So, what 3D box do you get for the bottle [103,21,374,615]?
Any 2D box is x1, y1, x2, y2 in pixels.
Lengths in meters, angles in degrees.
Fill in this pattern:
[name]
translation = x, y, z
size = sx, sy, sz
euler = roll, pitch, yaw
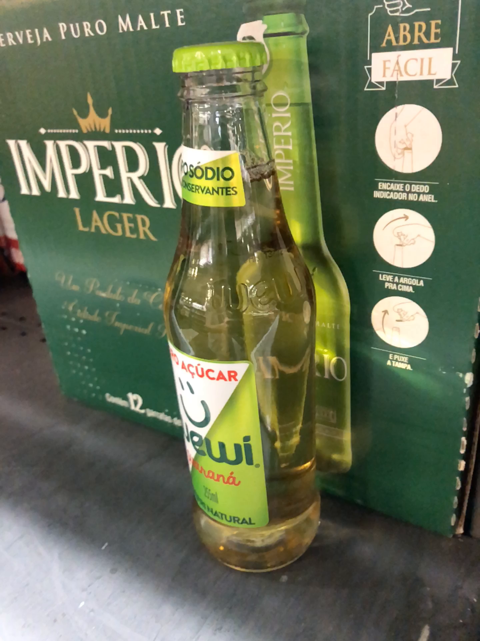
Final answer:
[bottle]
translation = 0.007, 0.007, 0.198
size = 0.050, 0.198, 0.060
euler = -28, 34, -37
